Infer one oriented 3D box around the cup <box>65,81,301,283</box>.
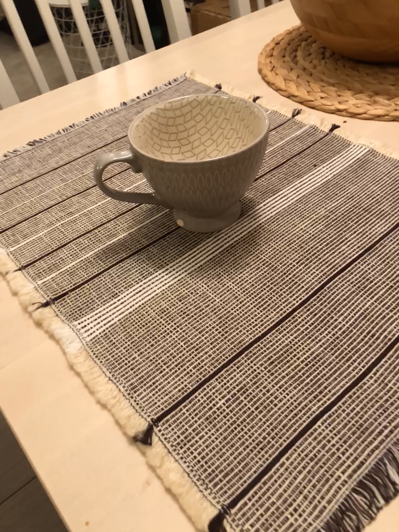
[{"bbox_3d":[-0.014,-0.077,0.369,0.150,0.080,0.110,-23,47,-16],"label":"cup"}]
